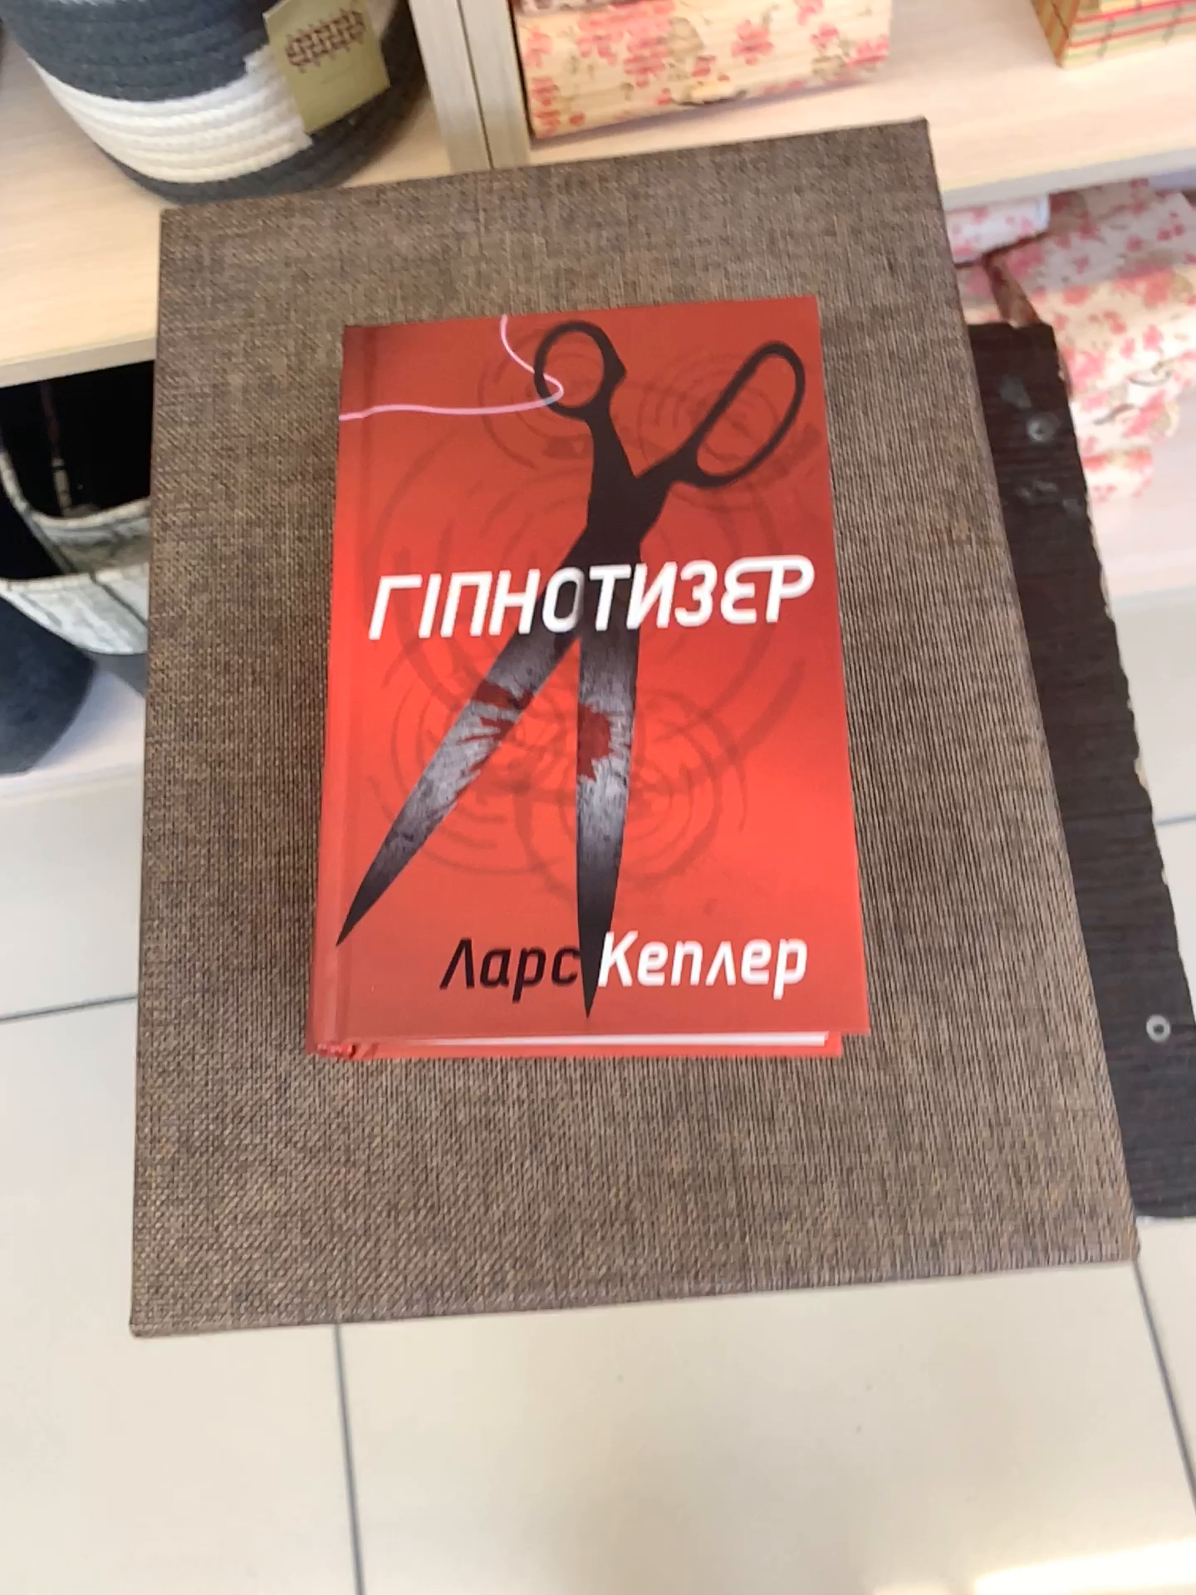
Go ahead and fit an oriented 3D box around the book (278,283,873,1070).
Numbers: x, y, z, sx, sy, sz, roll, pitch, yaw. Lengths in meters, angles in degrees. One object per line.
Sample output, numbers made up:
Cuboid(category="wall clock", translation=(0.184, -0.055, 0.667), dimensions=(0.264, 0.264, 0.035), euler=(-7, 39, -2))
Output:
Cuboid(category="book", translation=(-0.002, -0.030, 0.328), dimensions=(0.131, 0.060, 0.195), euler=(-1, 73, 6))
